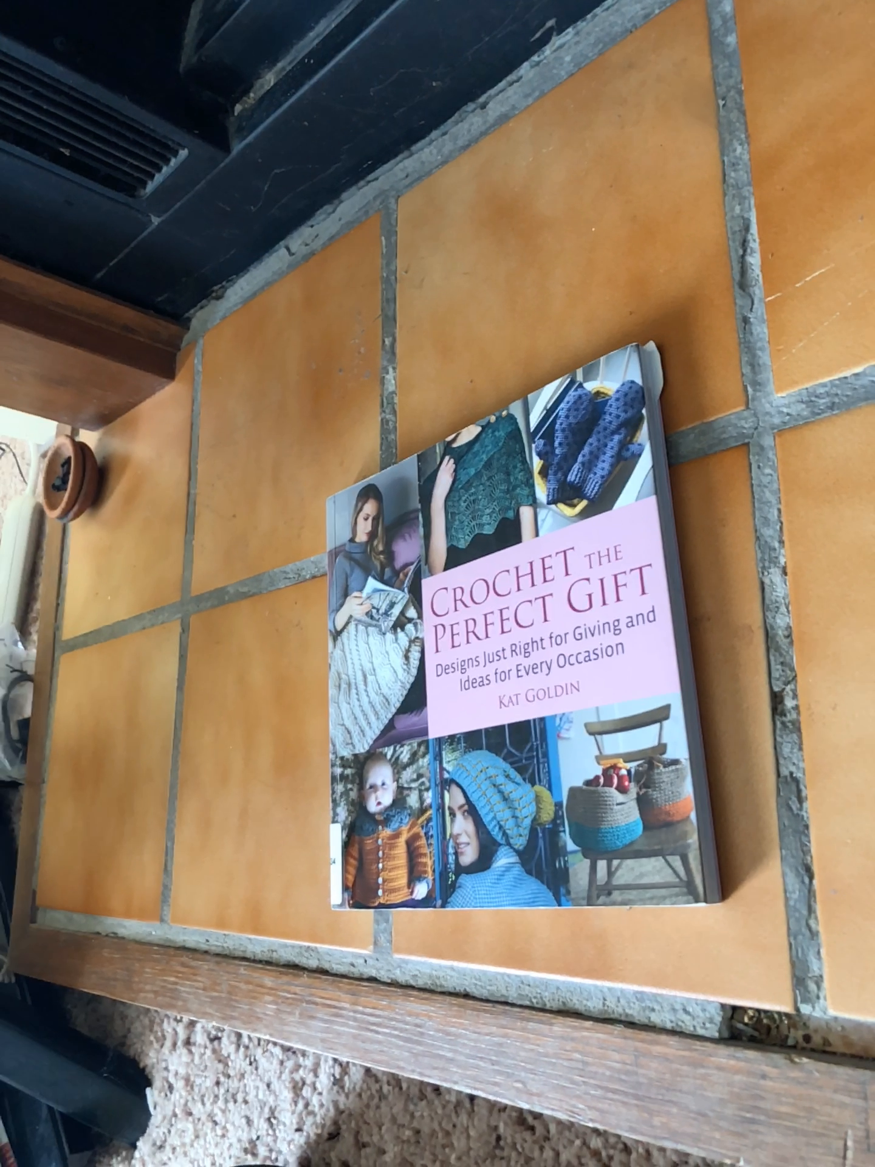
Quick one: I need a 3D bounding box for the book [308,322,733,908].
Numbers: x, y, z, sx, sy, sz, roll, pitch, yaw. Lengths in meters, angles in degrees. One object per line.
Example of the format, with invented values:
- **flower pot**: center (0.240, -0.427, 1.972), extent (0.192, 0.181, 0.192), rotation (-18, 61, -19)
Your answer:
- **book**: center (0.015, 0.029, 0.435), extent (0.218, 0.020, 0.221), rotation (-19, 67, 43)
